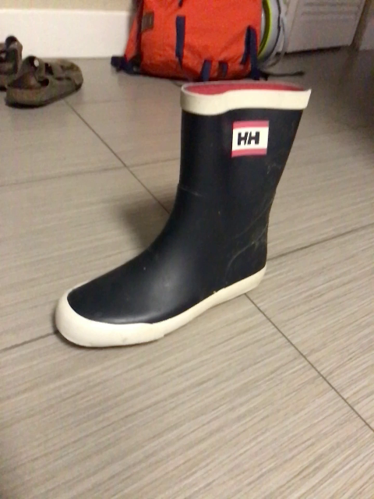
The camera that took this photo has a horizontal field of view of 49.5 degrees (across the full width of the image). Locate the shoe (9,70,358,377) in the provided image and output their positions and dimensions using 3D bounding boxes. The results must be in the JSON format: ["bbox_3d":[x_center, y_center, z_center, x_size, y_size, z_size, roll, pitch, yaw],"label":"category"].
[{"bbox_3d":[0.004,-0.041,0.395,0.280,0.216,0.102,-18,41,-30],"label":"shoe"}]
